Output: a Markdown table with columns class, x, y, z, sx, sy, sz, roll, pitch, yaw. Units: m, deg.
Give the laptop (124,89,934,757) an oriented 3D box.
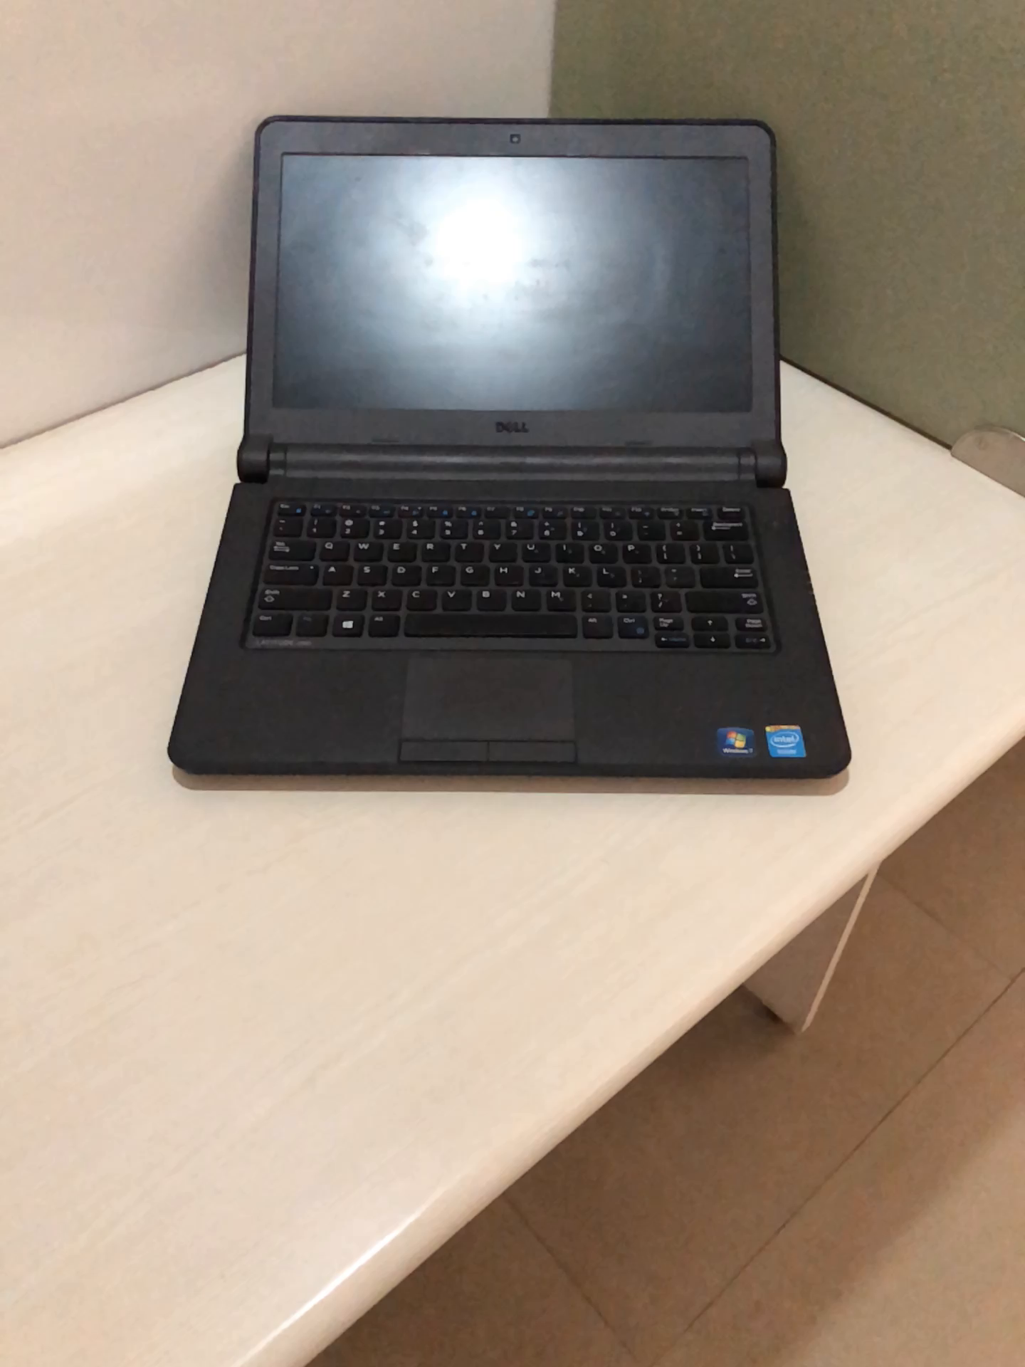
| class | x | y | z | sx | sy | sz | roll | pitch | yaw |
| --- | --- | --- | --- | --- | --- | --- | --- | --- | --- |
| laptop | 0.008 | -0.162 | 0.603 | 0.309 | 0.128 | 0.397 | 0 | 50 | 1 |
